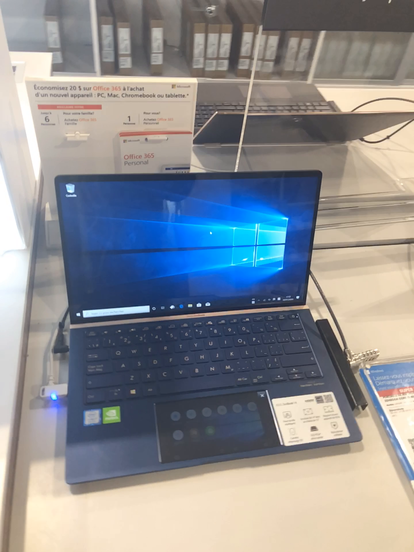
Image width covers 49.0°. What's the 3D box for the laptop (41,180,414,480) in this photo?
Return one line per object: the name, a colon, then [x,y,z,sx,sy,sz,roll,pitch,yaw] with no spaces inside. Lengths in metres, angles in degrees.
laptop: [0.004,0.041,0.496,0.309,0.179,0.254,-4,45,-12]
